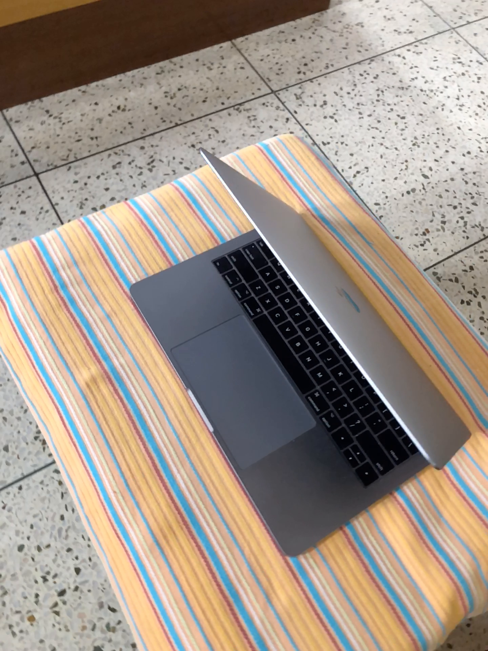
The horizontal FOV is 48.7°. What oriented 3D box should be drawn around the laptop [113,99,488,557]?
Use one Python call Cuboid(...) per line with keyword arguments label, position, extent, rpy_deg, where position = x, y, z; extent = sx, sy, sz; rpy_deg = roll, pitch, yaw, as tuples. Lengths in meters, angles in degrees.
Cuboid(label="laptop", position=(0.055, -0.003, 0.461), extent=(0.203, 0.160, 0.295), rpy_deg=(-27, 69, -18))
